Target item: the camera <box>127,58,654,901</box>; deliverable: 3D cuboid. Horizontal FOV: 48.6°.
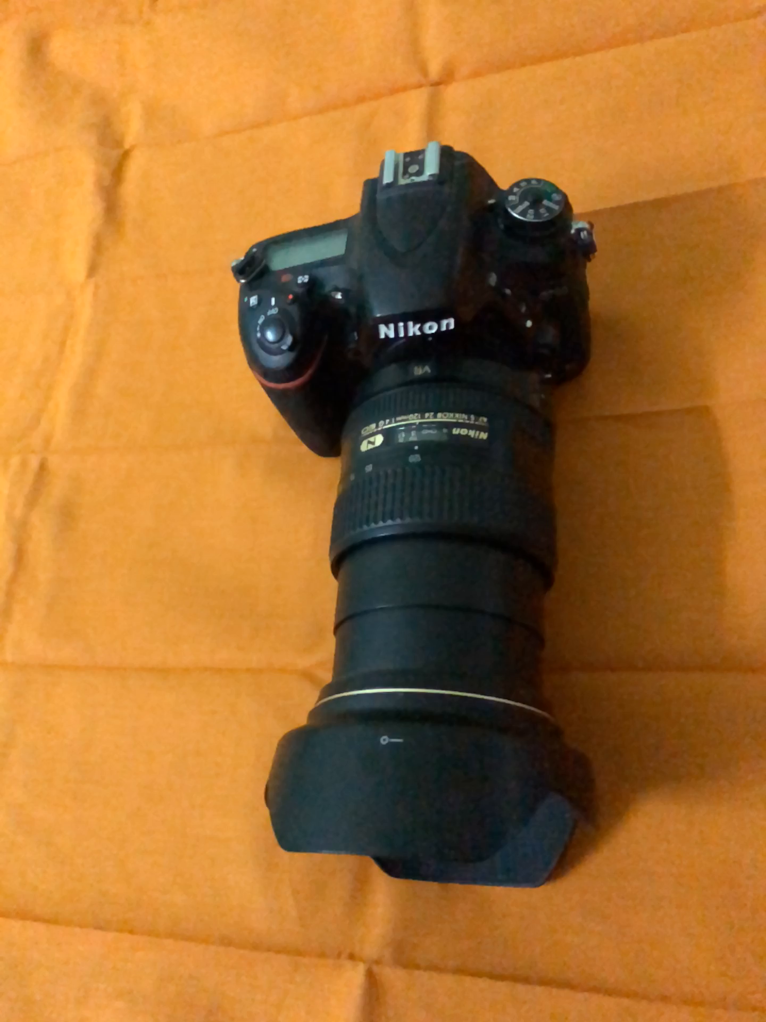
[{"bbox_3d":[0.017,-0.006,0.310,0.131,0.120,0.264,-5,65,17],"label":"camera"}]
